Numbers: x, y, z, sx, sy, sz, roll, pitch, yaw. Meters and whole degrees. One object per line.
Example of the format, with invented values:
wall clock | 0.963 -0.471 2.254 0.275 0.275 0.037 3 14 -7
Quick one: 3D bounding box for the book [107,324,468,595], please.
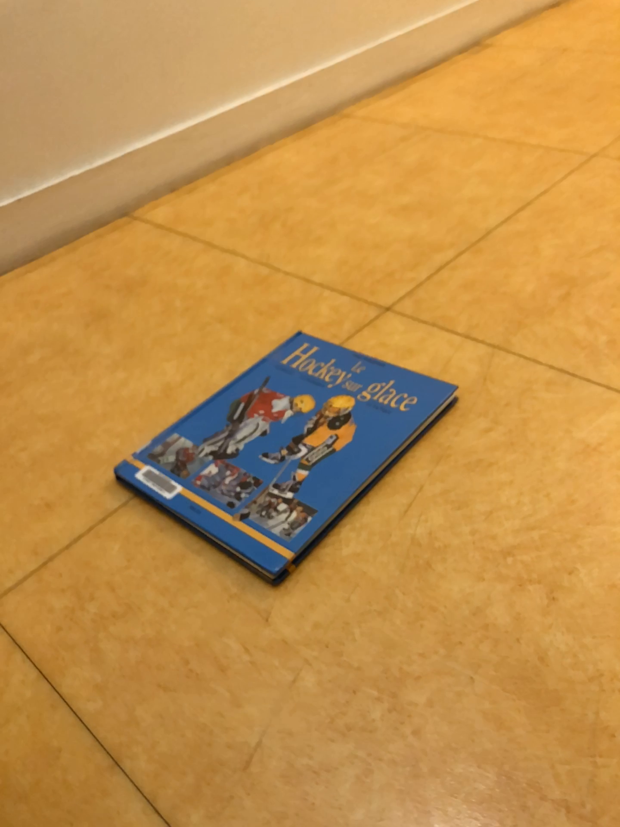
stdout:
book | -0.016 0.018 0.626 0.210 0.020 0.261 24 50 34
